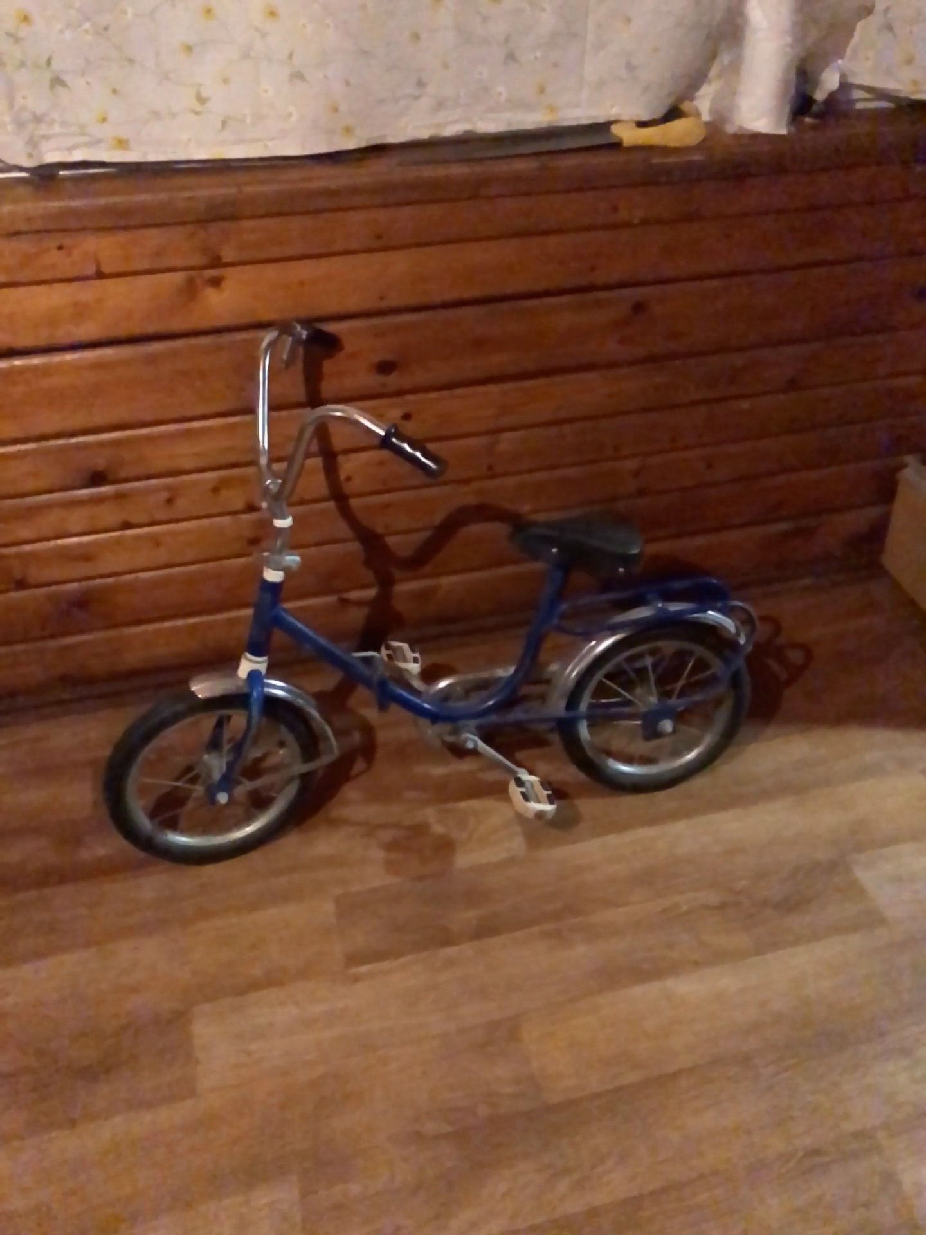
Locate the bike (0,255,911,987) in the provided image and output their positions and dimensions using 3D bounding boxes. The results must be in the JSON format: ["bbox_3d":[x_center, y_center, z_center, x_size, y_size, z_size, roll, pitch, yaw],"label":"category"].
[{"bbox_3d":[-0.036,-0.032,1.411,0.956,0.697,0.597,-7,41,-11],"label":"bike"}]
